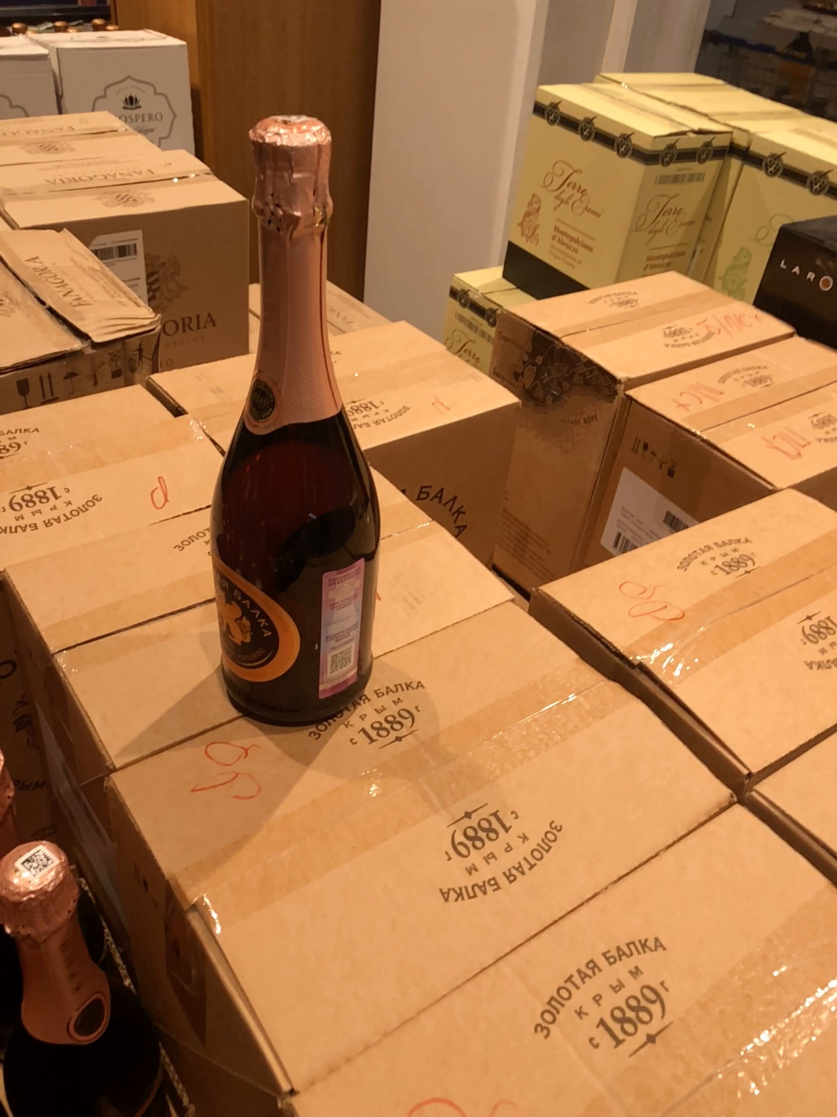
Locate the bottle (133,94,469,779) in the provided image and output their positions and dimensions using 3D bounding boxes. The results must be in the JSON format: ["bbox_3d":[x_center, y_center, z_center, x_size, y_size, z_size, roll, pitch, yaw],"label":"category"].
[{"bbox_3d":[-0.061,-0.045,0.452,0.090,0.308,0.100,-22,46,-33],"label":"bottle"}]
